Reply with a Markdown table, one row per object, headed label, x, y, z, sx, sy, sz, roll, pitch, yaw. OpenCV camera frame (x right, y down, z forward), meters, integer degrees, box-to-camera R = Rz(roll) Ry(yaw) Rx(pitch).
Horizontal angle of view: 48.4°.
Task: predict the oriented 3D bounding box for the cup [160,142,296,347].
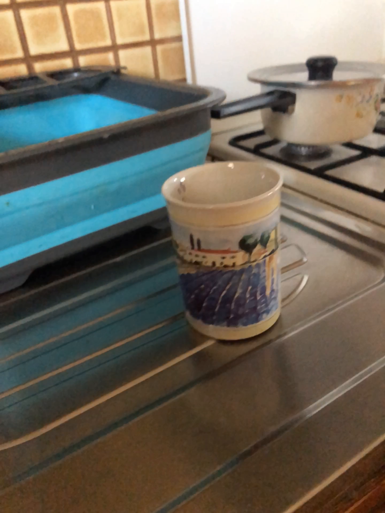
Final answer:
| label | x | y | z | sx | sy | sz | roll | pitch | yaw |
| --- | --- | --- | --- | --- | --- | --- | --- | --- | --- |
| cup | 0.033 | -0.015 | 0.303 | 0.070 | 0.099 | 0.111 | 3 | 31 | 14 |
